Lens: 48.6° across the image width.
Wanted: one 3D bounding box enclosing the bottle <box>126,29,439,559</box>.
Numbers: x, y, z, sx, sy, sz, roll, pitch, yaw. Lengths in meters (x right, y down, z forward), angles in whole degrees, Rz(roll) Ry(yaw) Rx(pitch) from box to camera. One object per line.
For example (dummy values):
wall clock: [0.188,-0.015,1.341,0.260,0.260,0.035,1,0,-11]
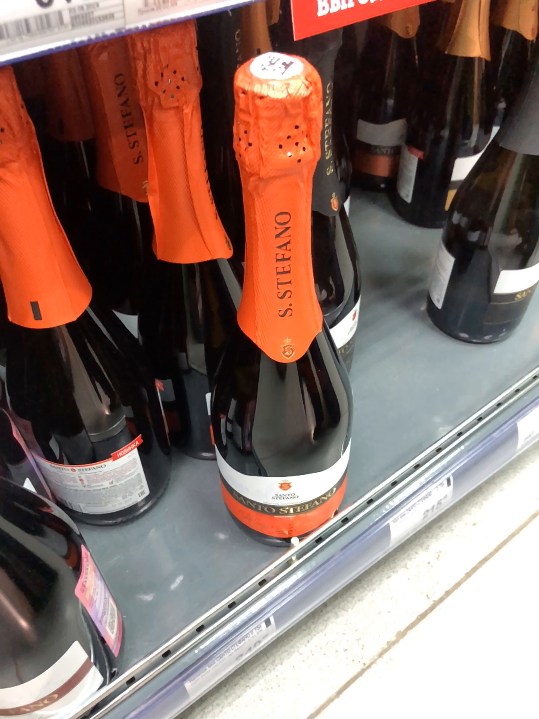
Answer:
bottle: [0.007,-0.004,0.333,0.100,0.298,0.101,-1,46,1]
